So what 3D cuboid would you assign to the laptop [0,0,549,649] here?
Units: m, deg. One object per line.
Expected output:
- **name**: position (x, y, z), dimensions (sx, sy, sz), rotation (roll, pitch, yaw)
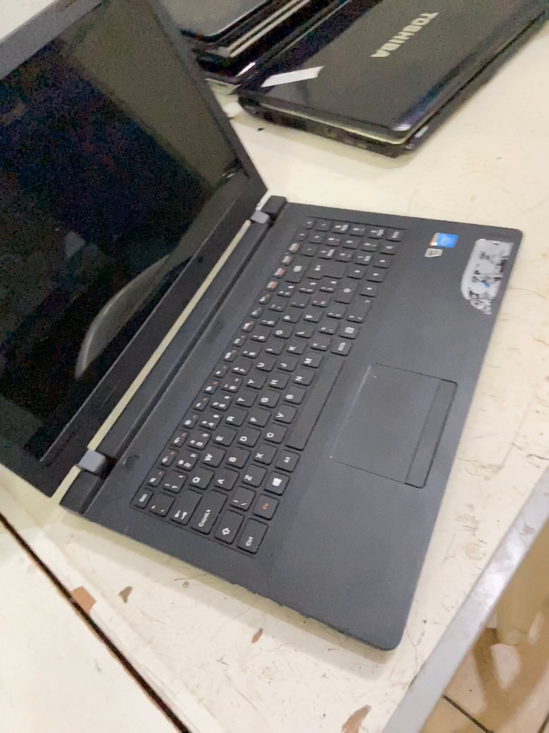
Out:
- **laptop**: position (-0.026, -0.093, 0.397), dimensions (0.338, 0.230, 0.376), rotation (14, 57, 23)
